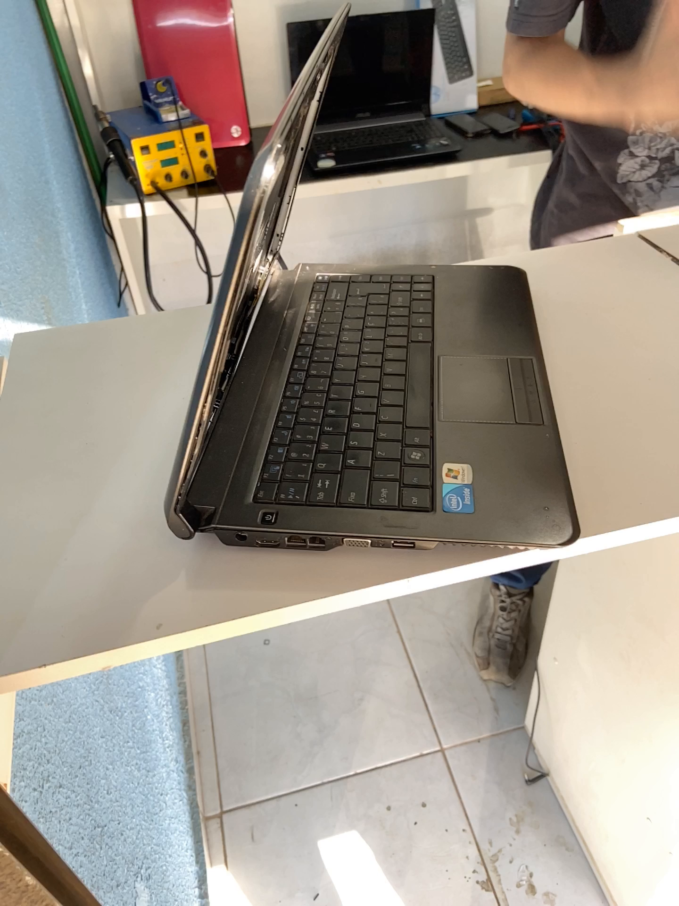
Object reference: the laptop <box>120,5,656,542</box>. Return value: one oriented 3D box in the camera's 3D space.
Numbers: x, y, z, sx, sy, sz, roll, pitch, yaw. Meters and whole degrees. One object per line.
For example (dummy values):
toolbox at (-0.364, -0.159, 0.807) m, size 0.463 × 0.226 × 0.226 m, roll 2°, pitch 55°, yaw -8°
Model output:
laptop at (0.039, -0.141, 0.459) m, size 0.205 × 0.206 × 0.332 m, roll 1°, pitch 41°, yaw 7°
